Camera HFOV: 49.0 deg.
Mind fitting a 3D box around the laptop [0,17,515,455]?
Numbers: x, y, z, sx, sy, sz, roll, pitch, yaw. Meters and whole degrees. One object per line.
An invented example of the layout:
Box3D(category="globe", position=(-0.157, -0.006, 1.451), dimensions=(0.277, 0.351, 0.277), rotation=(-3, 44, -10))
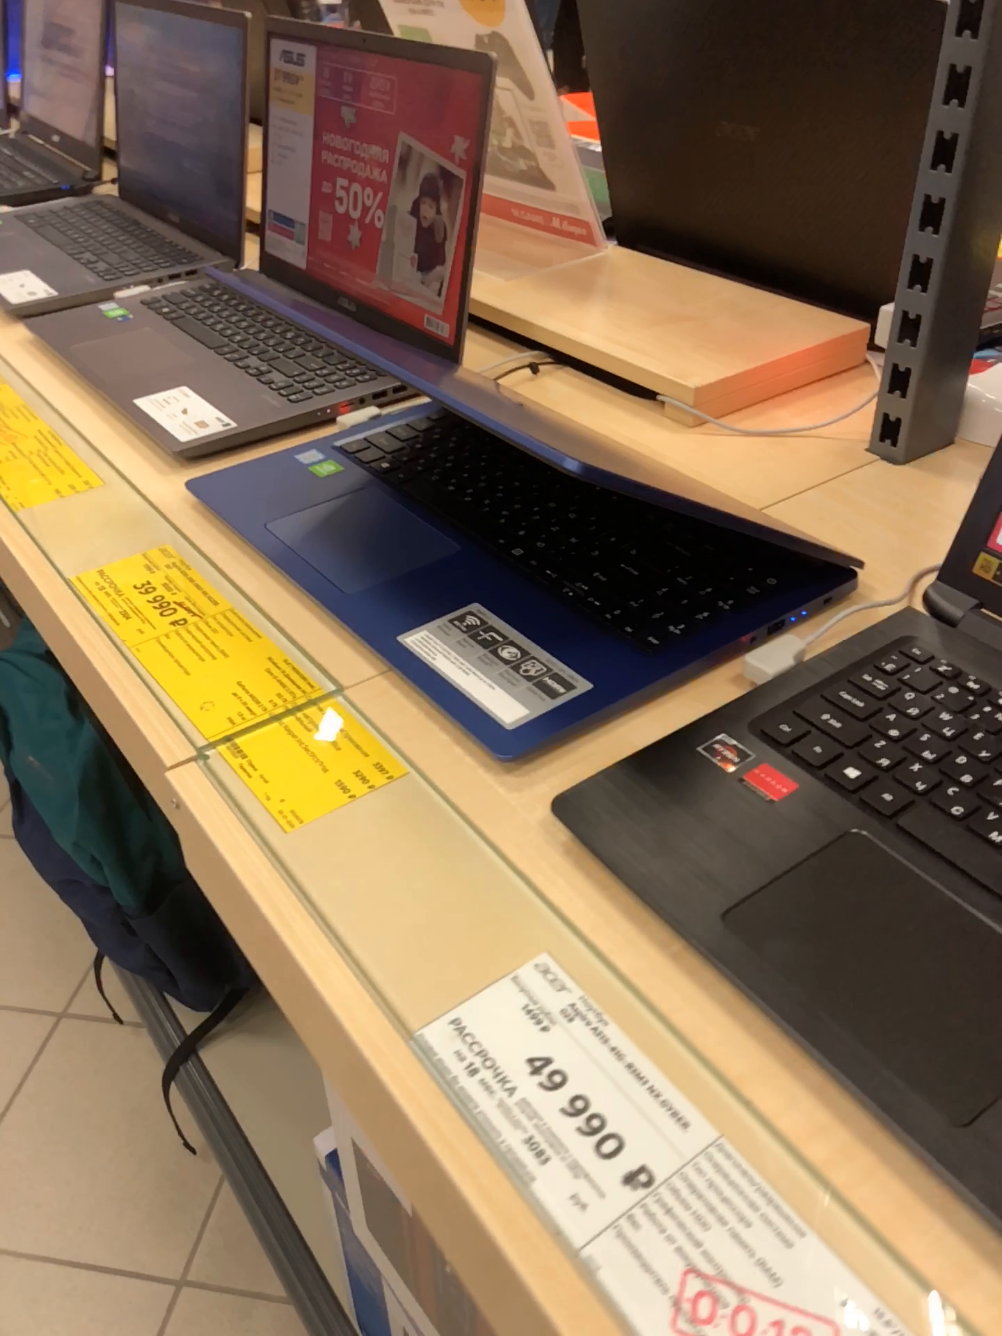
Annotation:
Box3D(category="laptop", position=(-0.229, -0.391, 0.929), dimensions=(0.303, 0.206, 0.391), rotation=(-26, 42, -25))

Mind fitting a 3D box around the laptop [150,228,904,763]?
Box3D(category="laptop", position=(-0.009, -0.136, 0.640), dimensions=(0.246, 0.126, 0.368), rotation=(-24, 40, -26))

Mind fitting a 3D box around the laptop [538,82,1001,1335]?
Box3D(category="laptop", position=(0.263, -0.022, 0.350), dimensions=(0.354, 0.227, 0.358), rotation=(-23, 39, -24))
